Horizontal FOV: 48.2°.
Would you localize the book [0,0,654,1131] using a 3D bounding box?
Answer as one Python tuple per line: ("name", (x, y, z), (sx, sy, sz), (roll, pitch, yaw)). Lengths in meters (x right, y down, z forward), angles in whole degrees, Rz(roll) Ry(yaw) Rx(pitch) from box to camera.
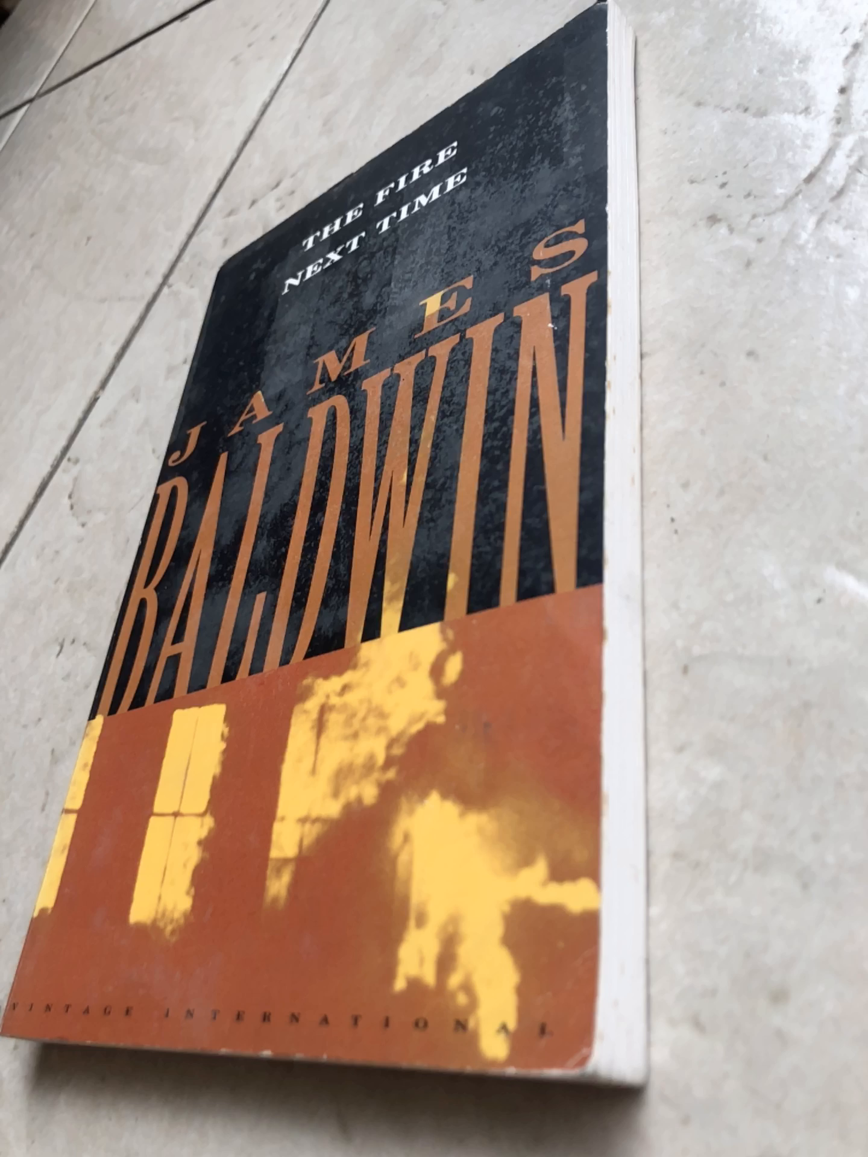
("book", (-0.021, -0.015, 0.188), (0.131, 0.016, 0.200), (-17, 53, 36))
